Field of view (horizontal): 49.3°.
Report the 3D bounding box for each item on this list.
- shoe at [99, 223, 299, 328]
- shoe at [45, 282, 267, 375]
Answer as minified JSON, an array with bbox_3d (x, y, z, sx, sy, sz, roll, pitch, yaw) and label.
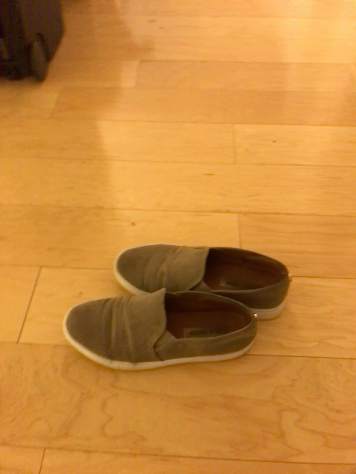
[{"bbox_3d":[0.034,0.056,0.595,0.280,0.060,0.111,7,53,5],"label":"shoe"},{"bbox_3d":[-0.027,0.126,0.542,0.280,0.050,0.111,1,53,1],"label":"shoe"}]
